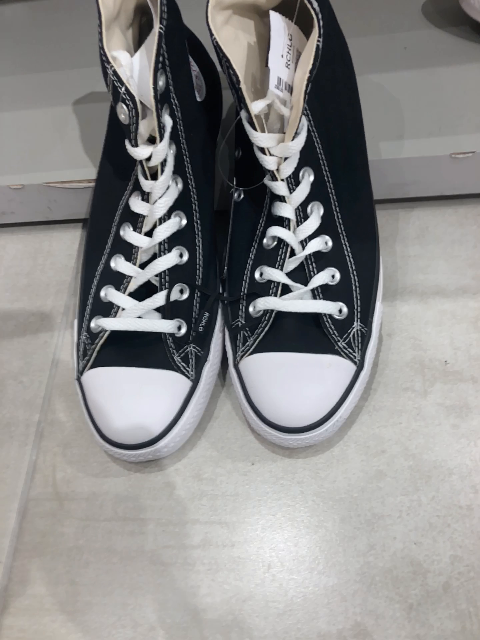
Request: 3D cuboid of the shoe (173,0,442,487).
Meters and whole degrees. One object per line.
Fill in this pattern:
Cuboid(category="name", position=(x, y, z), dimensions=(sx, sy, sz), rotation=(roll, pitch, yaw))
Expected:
Cuboid(category="shoe", position=(0.036, -0.082, 0.329), dimensions=(0.120, 0.140, 0.331), rotation=(-1, 83, 7))

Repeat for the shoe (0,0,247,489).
Cuboid(category="shoe", position=(-0.068, -0.064, 0.355), dimensions=(0.120, 0.140, 0.311), rotation=(1, 83, 8))
